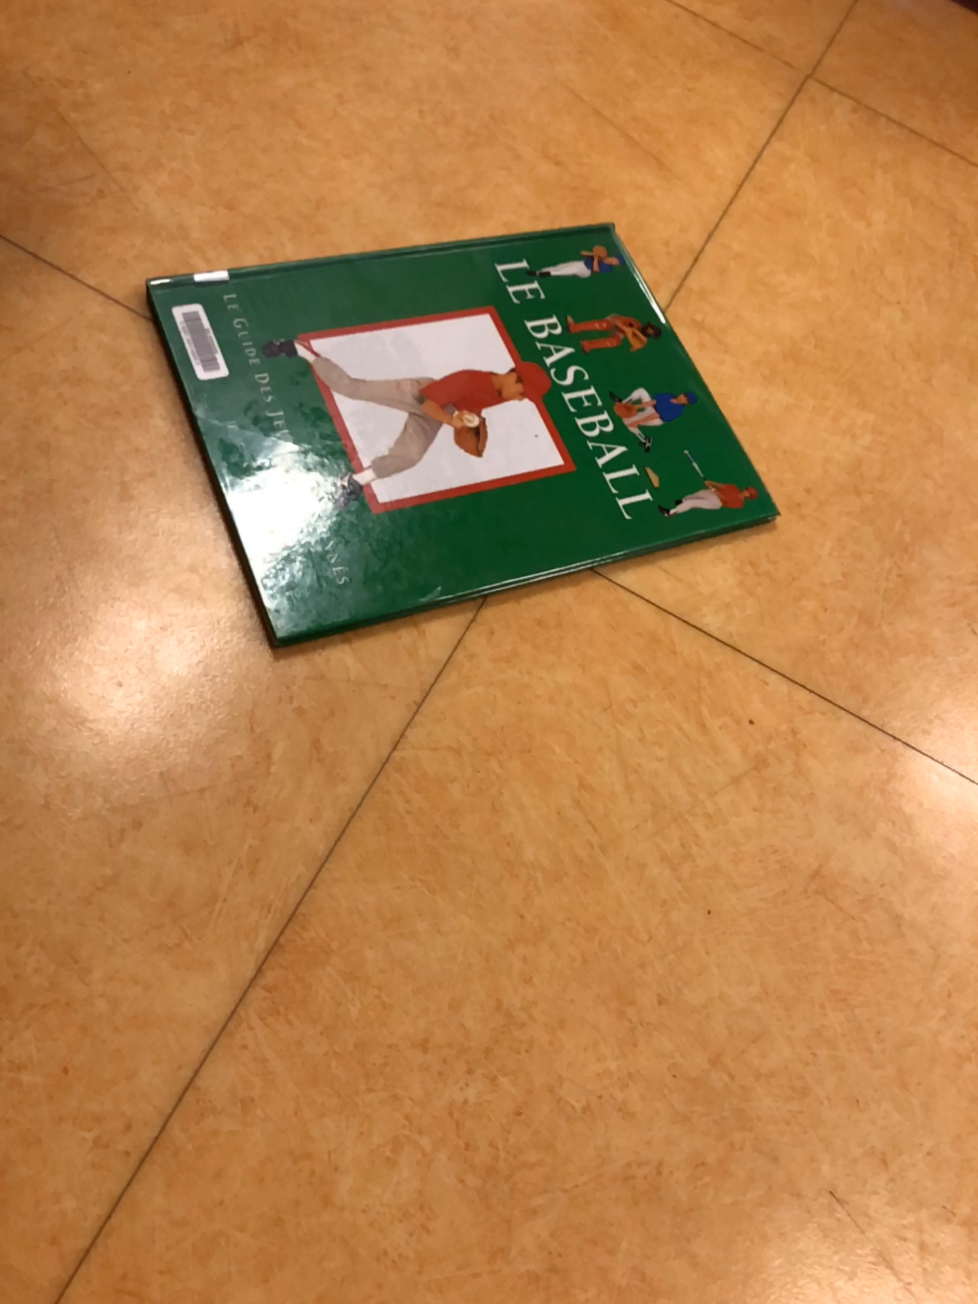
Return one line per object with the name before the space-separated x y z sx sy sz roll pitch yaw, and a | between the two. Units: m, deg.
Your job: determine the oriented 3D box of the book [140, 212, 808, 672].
book | -0.006 -0.124 0.548 0.281 0.020 0.219 -15 68 -22
